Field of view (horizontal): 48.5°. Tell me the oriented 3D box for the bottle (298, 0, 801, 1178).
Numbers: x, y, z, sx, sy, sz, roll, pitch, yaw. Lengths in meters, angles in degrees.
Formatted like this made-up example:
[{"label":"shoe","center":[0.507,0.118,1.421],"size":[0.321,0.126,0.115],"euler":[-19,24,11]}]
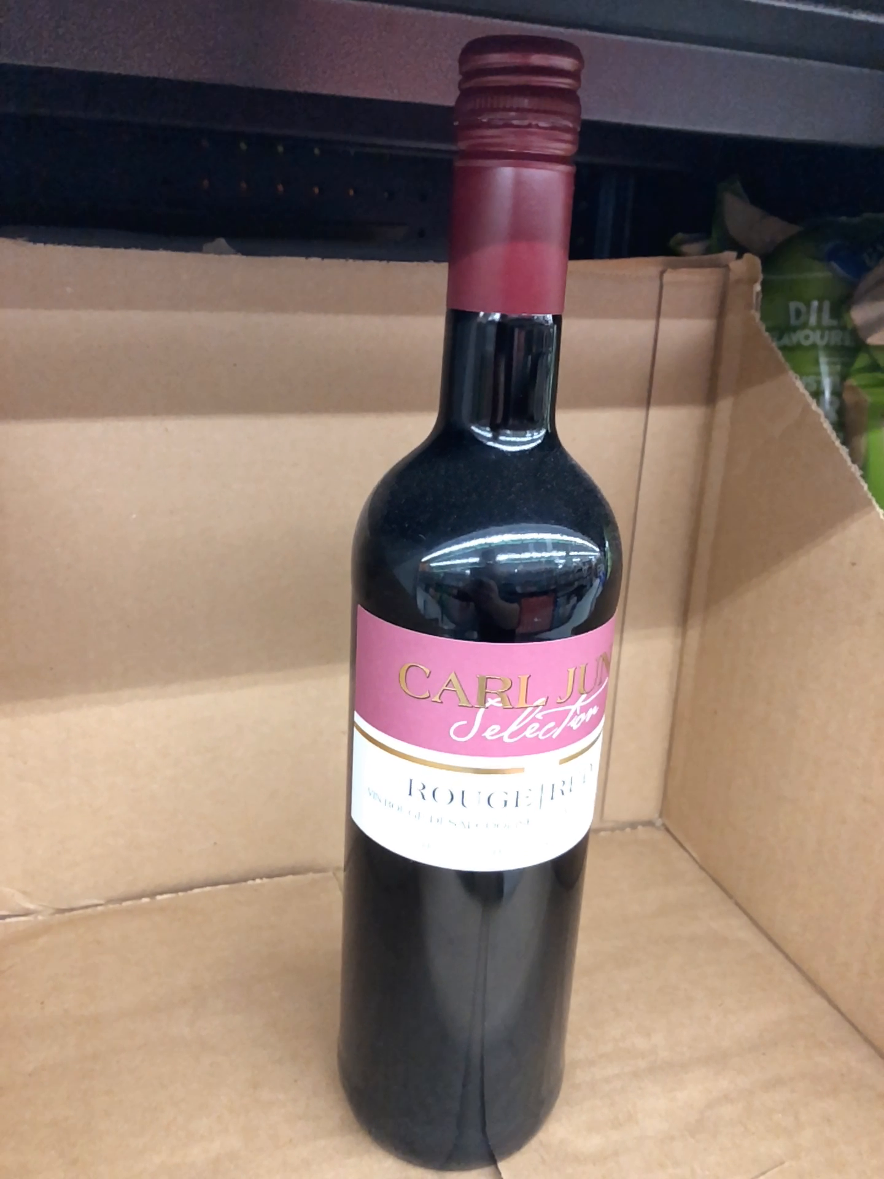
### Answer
[{"label":"bottle","center":[0.010,0.018,0.271],"size":[0.090,0.308,0.080],"euler":[-2,20,-14]}]
